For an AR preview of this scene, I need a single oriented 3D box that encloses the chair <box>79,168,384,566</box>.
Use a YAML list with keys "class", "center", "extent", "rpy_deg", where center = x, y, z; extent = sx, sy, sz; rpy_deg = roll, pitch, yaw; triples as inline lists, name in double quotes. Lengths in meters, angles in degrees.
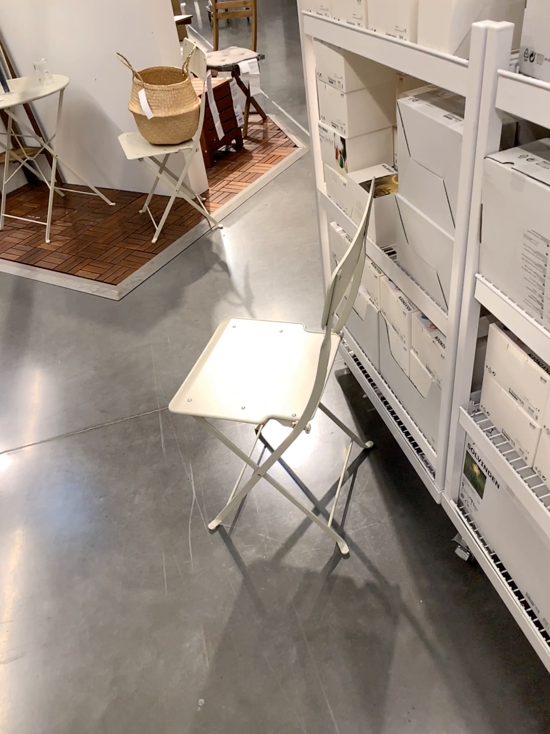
- class: "chair"
  center: [-0.012, 0.008, 1.307]
  extent: [0.458, 0.783, 0.439]
  rpy_deg: [6, 41, 18]
